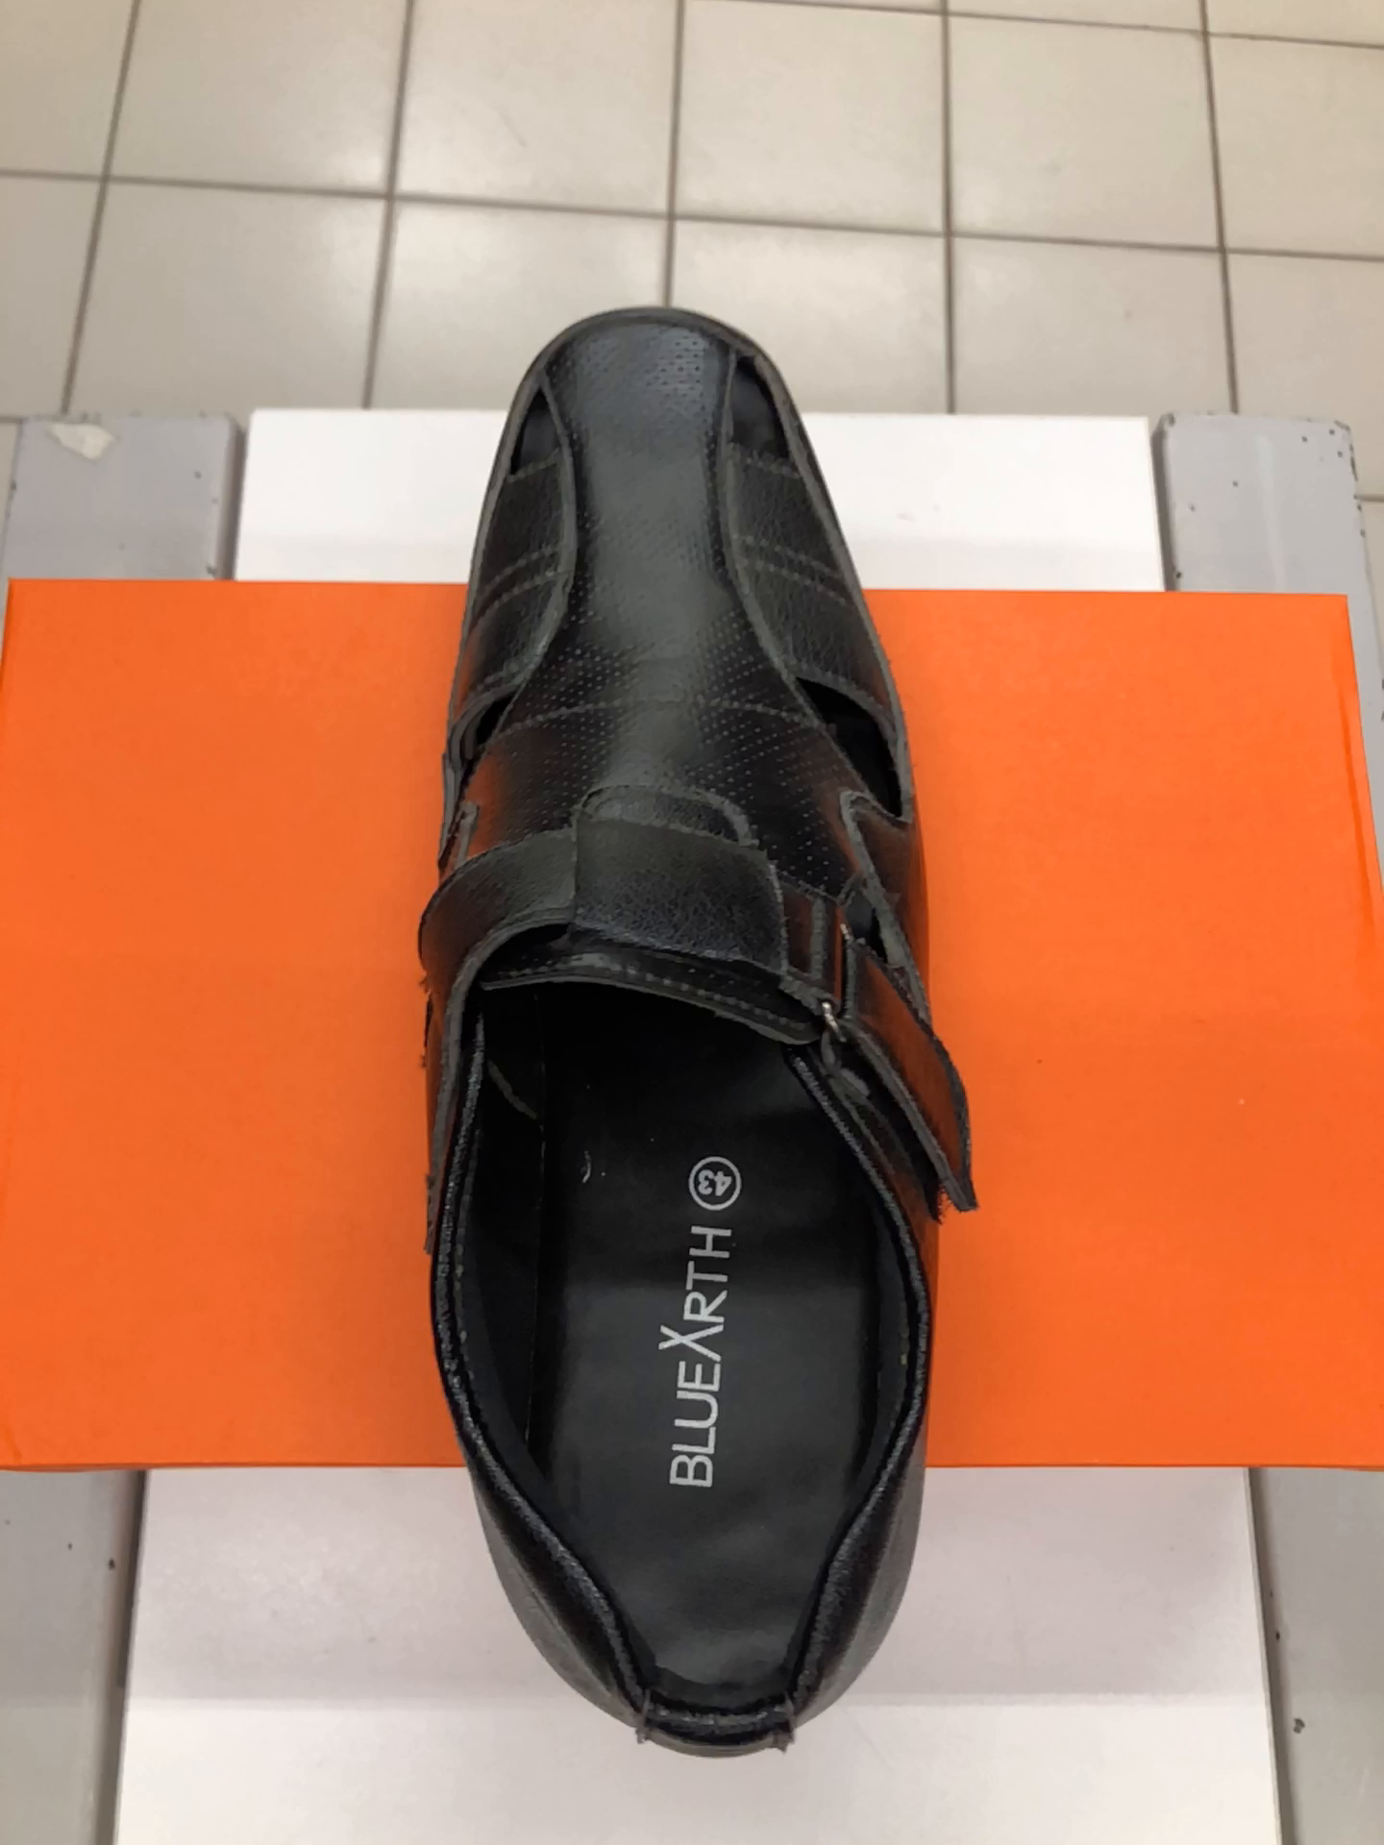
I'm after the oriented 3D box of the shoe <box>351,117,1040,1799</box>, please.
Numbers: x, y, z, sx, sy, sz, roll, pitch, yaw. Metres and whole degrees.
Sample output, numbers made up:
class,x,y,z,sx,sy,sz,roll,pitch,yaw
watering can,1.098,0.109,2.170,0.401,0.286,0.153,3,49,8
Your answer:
class,x,y,z,sx,sy,sz,roll,pitch,yaw
shoe,-0.002,-0.003,0.315,0.100,0.100,0.301,1,73,-3
